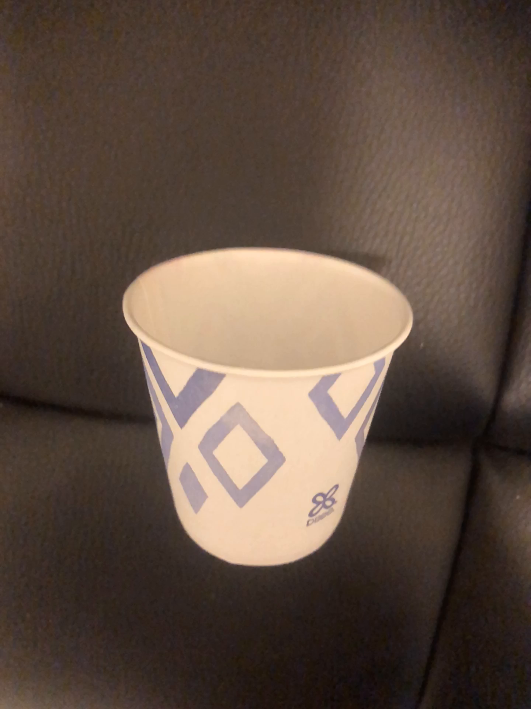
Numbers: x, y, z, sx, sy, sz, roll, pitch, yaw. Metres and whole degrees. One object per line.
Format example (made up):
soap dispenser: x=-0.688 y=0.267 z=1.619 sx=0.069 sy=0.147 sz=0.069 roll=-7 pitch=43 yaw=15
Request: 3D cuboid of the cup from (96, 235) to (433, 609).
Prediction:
cup: x=-0.001 y=0.013 z=0.130 sx=0.052 sy=0.049 sz=0.058 roll=4 pitch=122 yaw=1
